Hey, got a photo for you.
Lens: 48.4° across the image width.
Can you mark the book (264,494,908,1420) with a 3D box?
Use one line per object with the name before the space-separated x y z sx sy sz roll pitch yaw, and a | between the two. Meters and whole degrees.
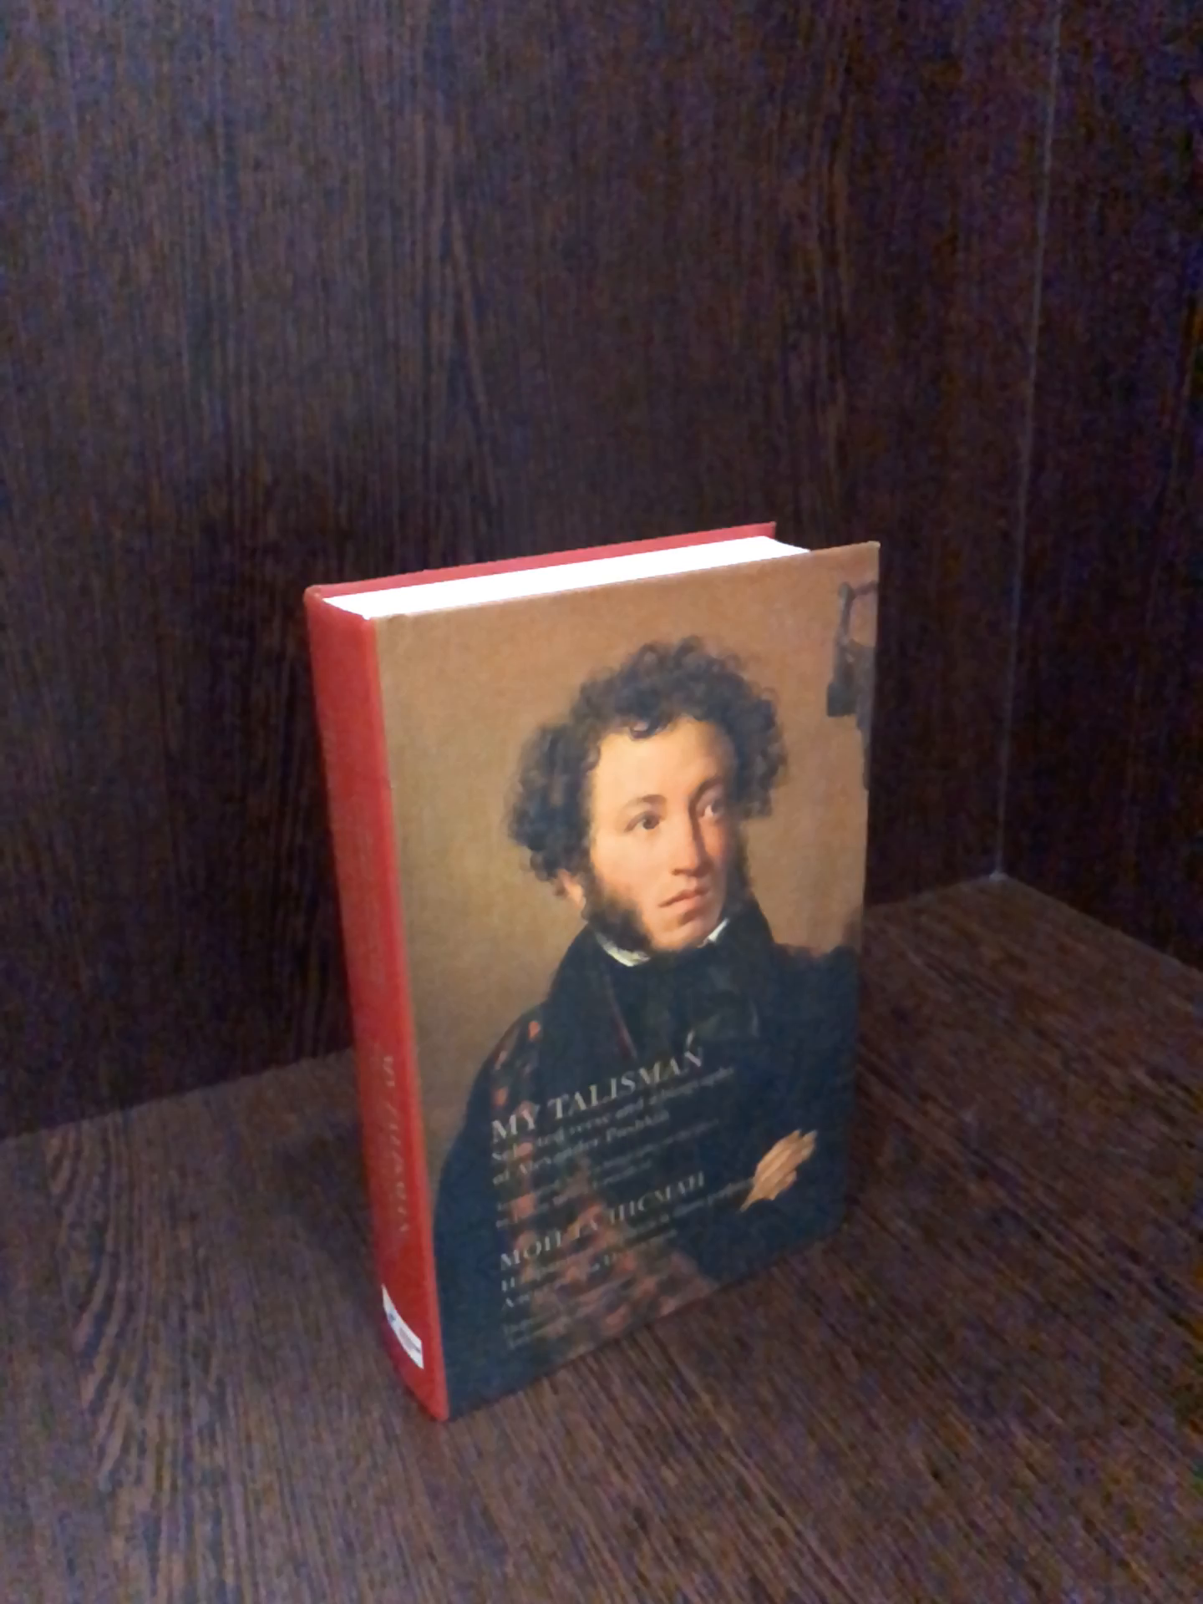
book | 0.000 0.034 0.341 0.137 0.201 0.054 -13 25 -28
